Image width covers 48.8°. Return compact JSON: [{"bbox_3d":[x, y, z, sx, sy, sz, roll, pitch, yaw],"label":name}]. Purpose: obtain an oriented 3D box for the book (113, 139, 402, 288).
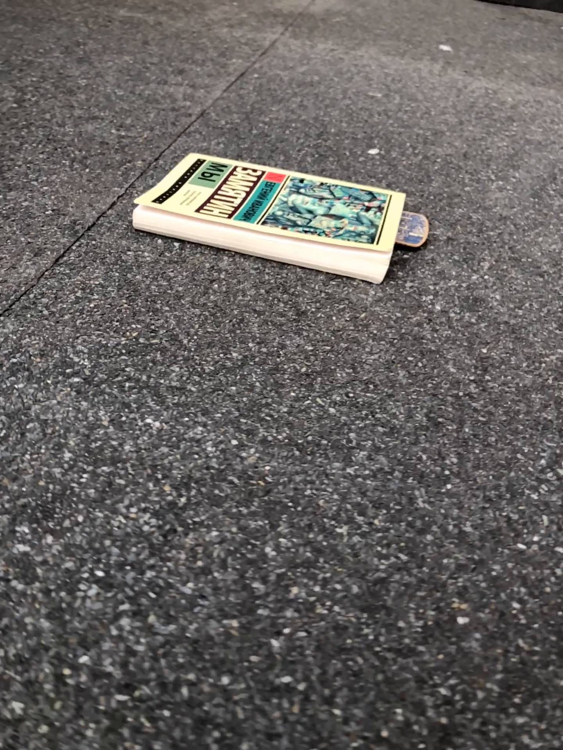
[{"bbox_3d":[-0.011,-0.125,0.455,0.182,0.027,0.121,13,40,7],"label":"book"}]
